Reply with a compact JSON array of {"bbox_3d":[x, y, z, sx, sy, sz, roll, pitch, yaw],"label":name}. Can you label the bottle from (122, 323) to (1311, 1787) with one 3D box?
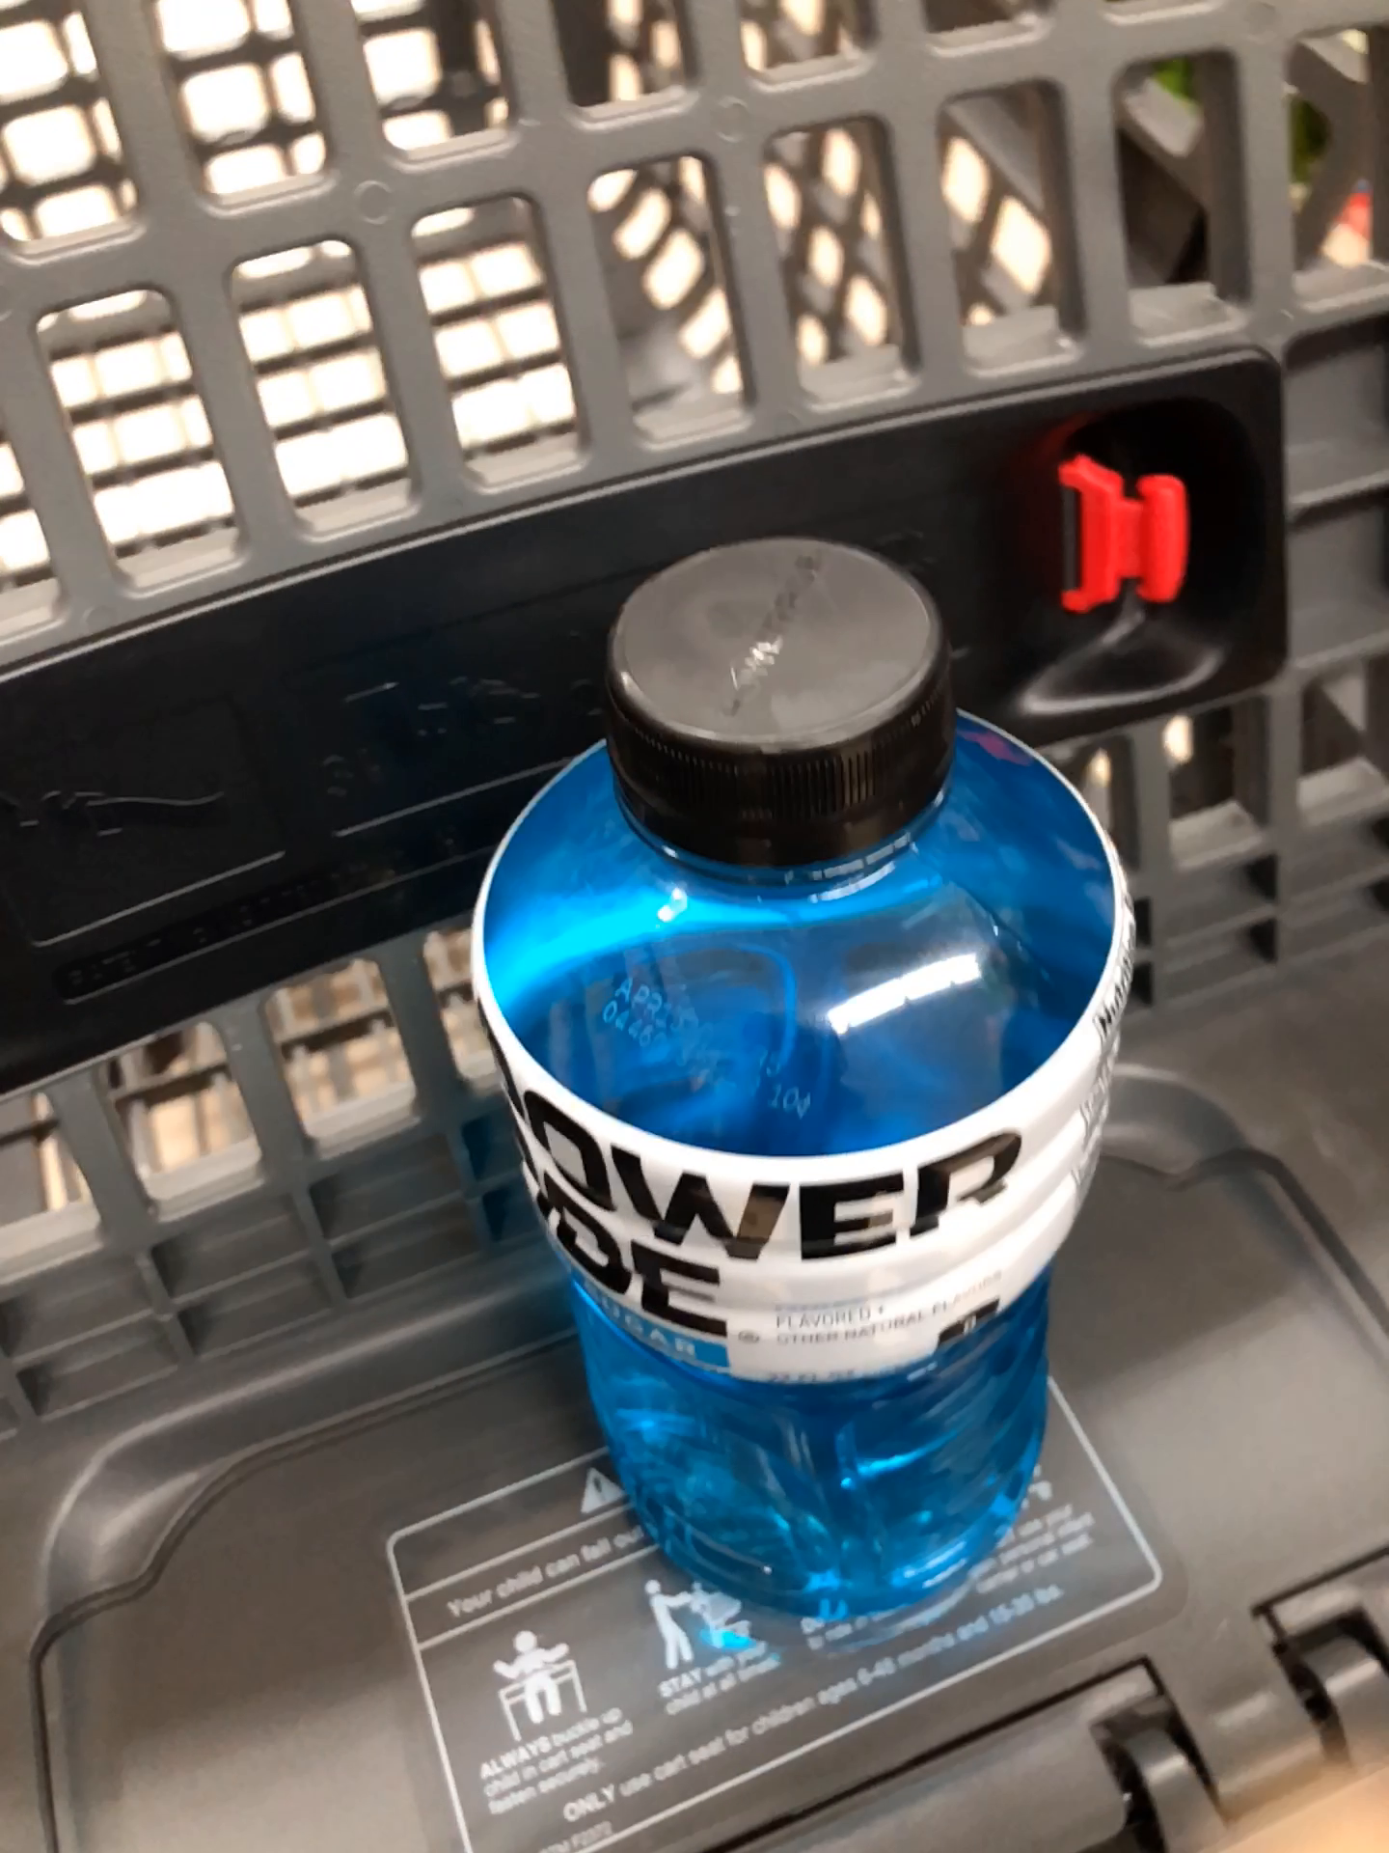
[{"bbox_3d":[0.017,0.036,0.258,0.100,0.220,0.100,-4,46,5],"label":"bottle"}]
